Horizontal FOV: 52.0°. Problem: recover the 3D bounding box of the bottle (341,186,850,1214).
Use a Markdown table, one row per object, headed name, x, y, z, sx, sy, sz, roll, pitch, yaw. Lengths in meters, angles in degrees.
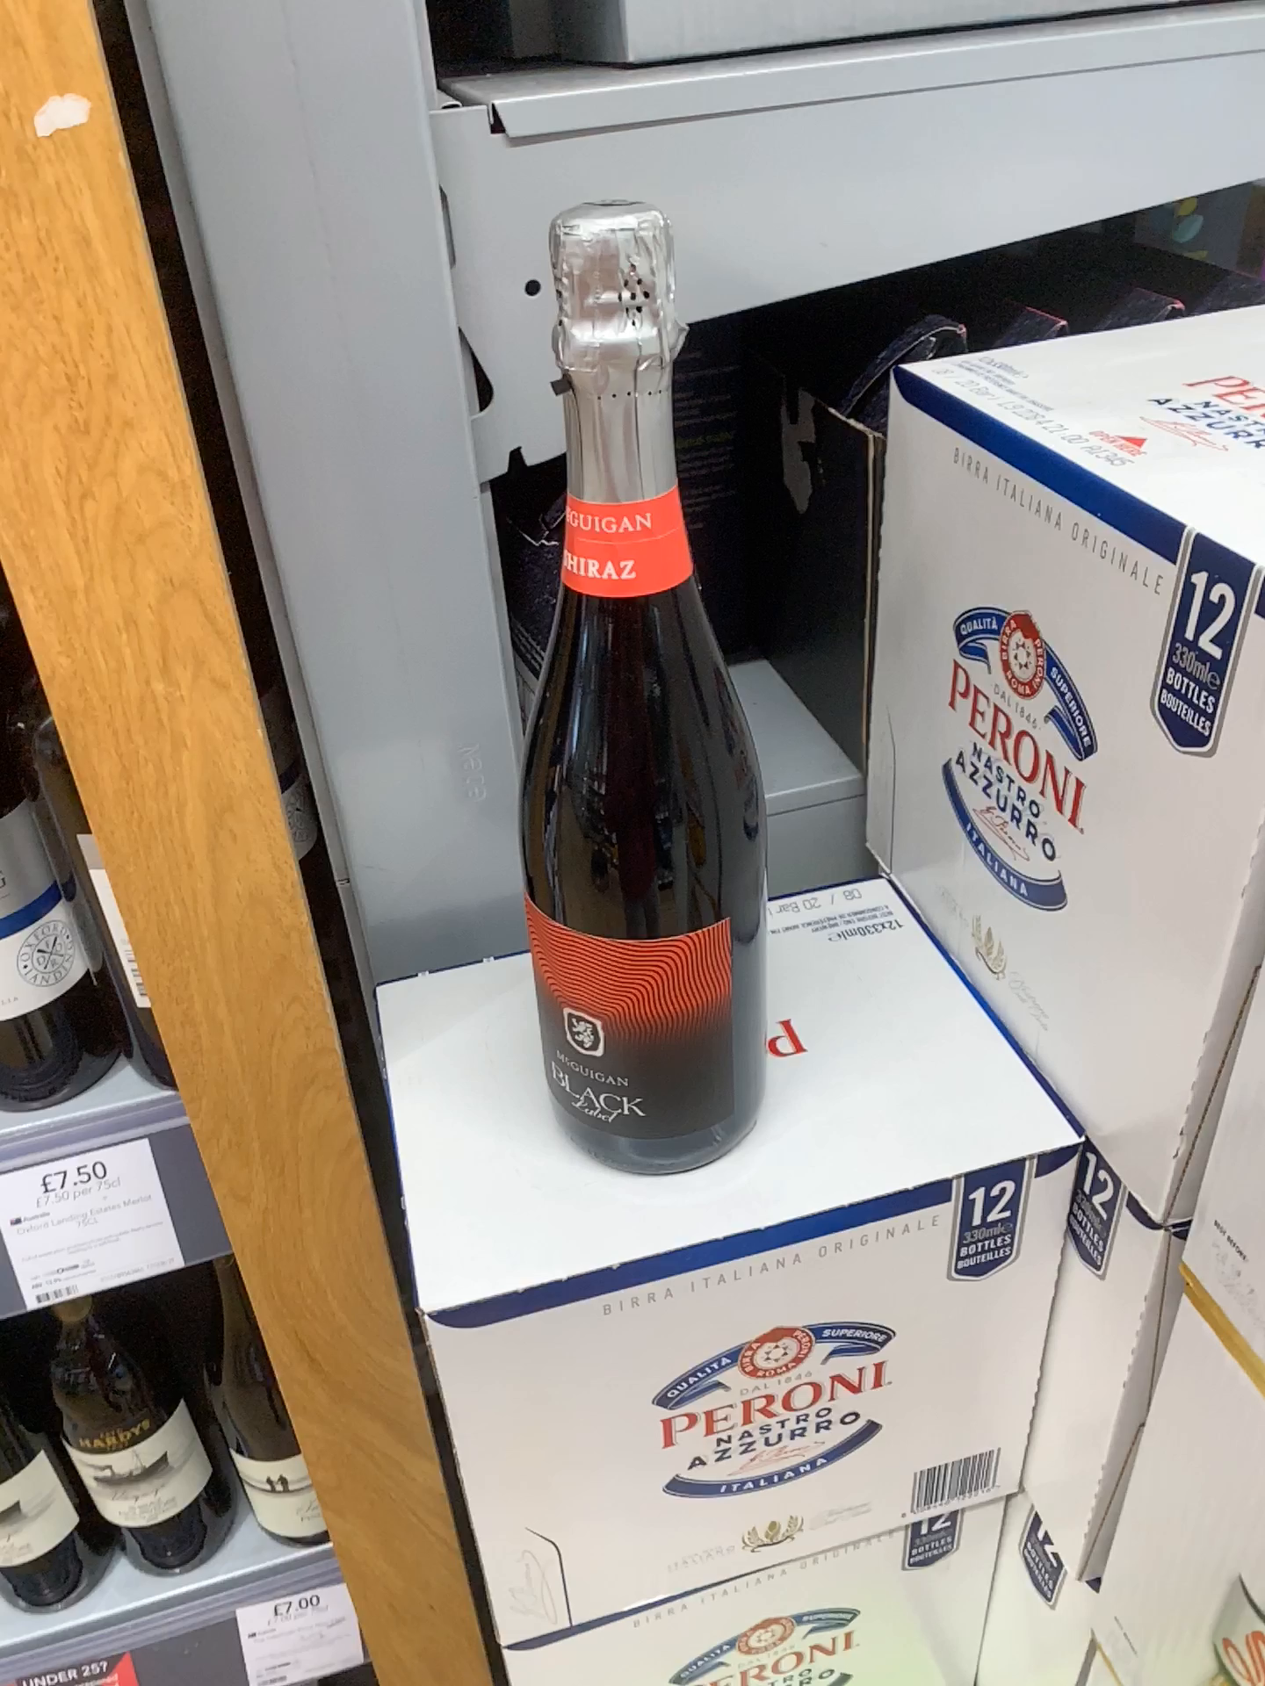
| name | x | y | z | sx | sy | sz | roll | pitch | yaw |
| --- | --- | --- | --- | --- | --- | --- | --- | --- | --- |
| bottle | 0.003 | -0.034 | 0.399 | 0.090 | 0.289 | 0.095 | -3 | 33 | 2 |
